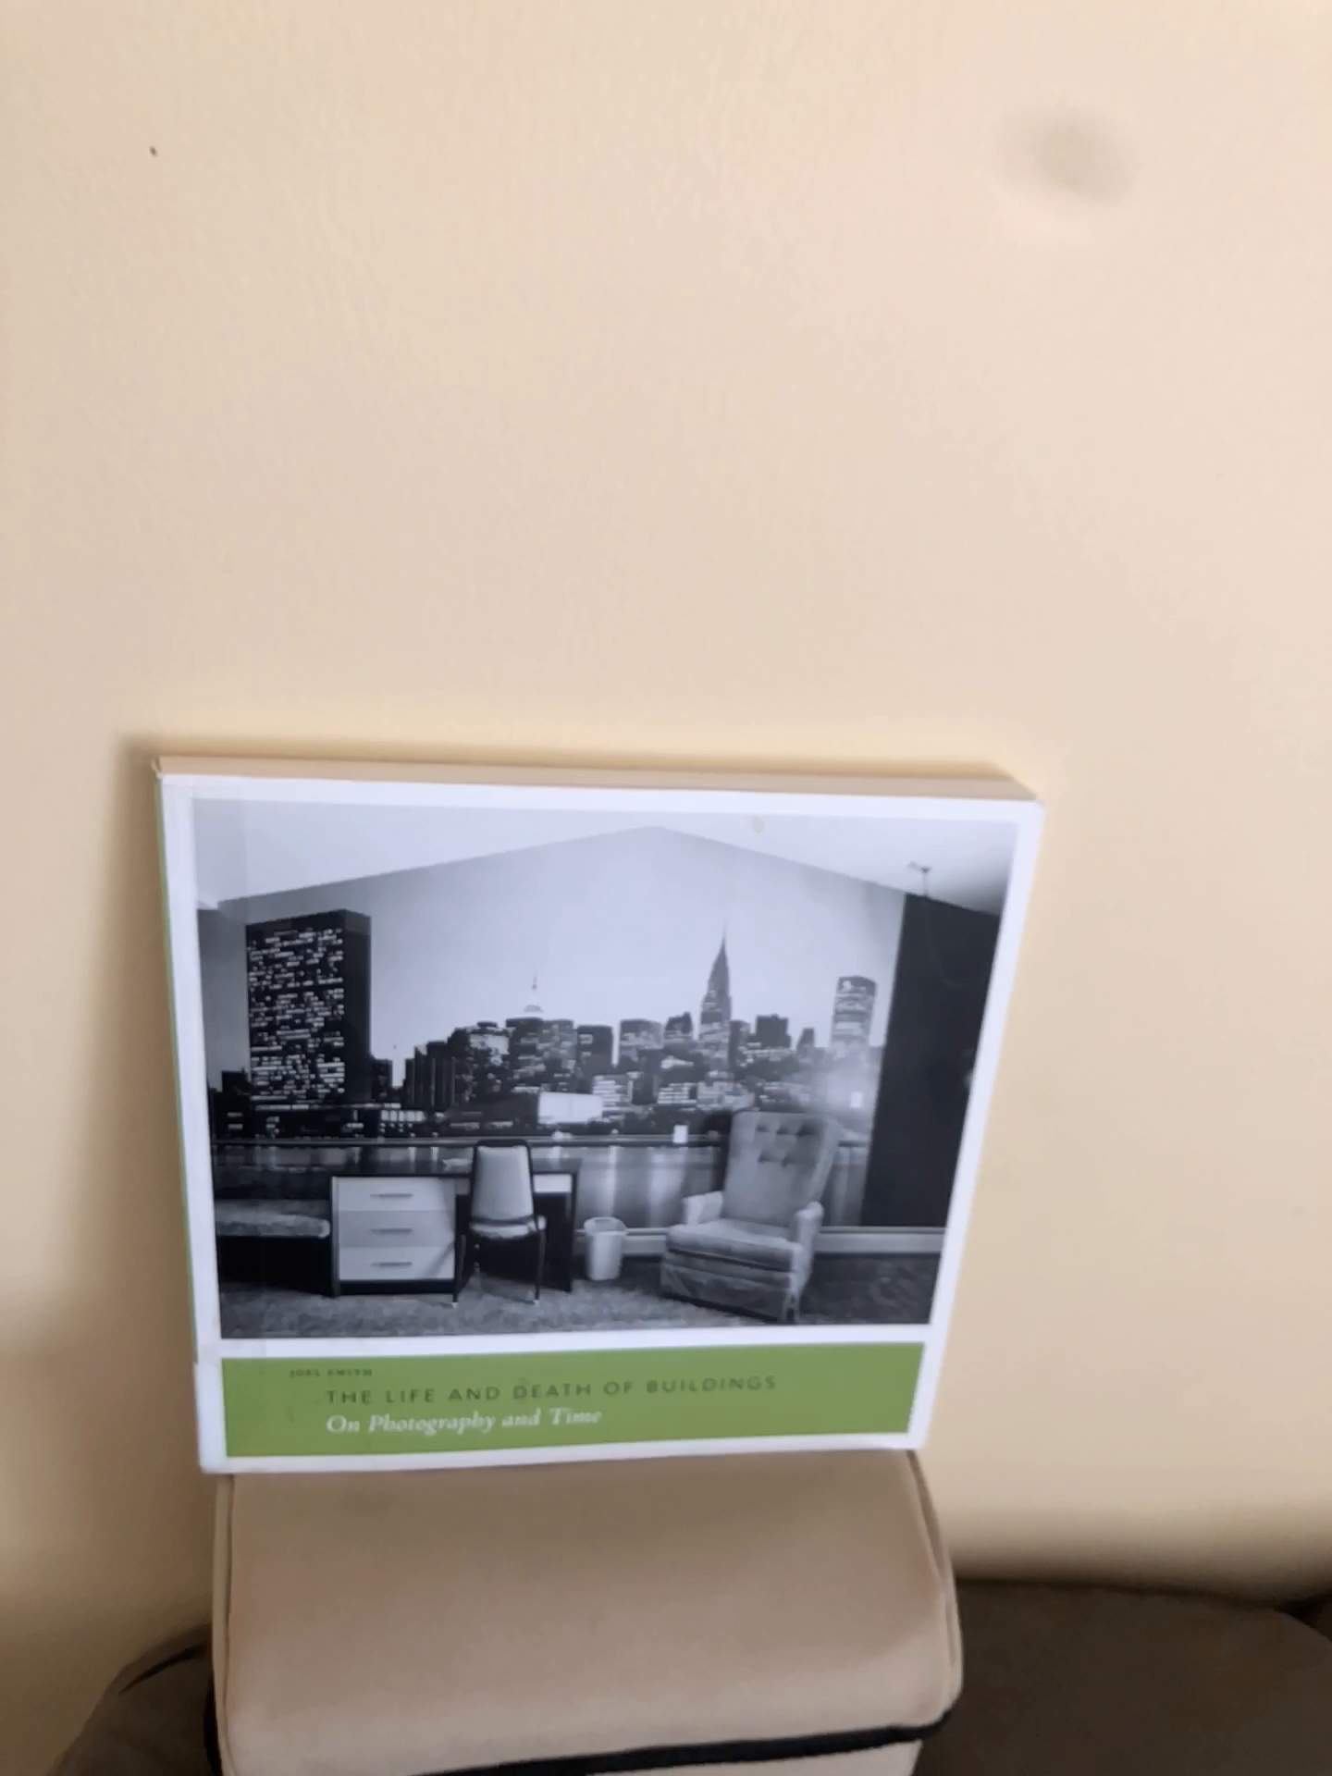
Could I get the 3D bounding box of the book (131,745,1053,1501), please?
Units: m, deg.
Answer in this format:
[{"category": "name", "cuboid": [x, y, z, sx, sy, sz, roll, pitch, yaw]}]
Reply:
[{"category": "book", "cuboid": [-0.021, 0.066, 0.389, 0.216, 0.203, 0.020, 1, 22, -12]}]
